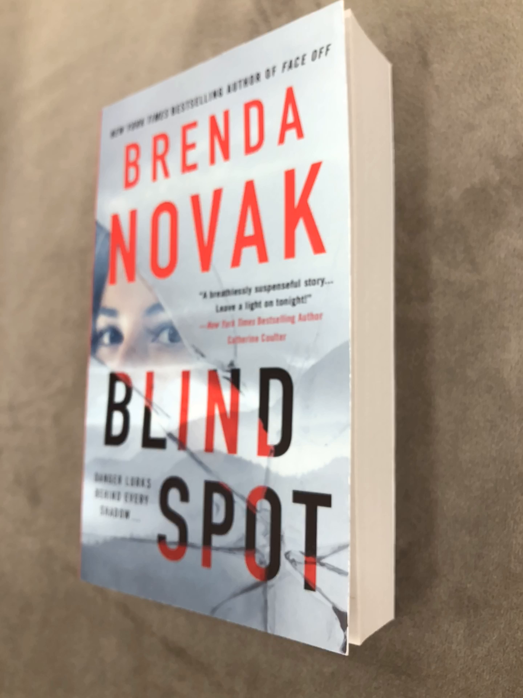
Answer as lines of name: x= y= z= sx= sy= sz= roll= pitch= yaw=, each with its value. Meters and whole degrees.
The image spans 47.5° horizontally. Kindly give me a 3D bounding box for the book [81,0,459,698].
book: x=-0.002 y=-0.005 z=0.206 sx=0.121 sy=0.050 sz=0.190 roll=-4 pitch=83 yaw=40
